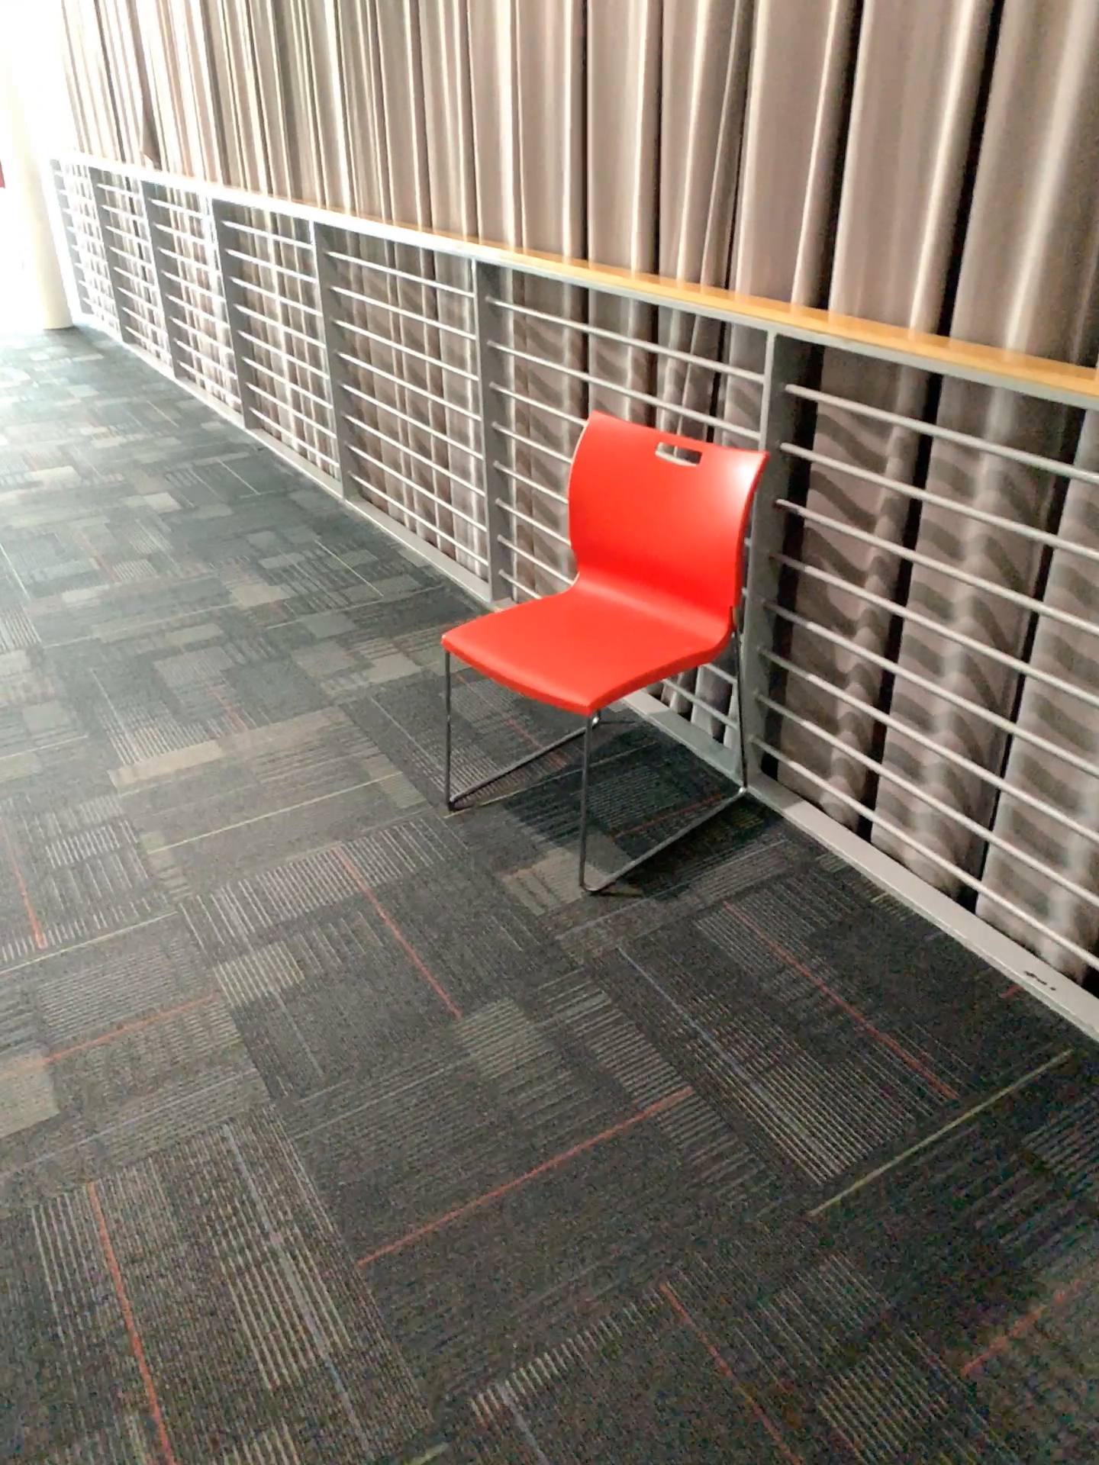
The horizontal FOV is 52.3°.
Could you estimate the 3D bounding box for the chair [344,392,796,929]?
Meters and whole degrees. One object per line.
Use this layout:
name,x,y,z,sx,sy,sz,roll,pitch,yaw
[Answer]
chair,0.060,-0.199,2.484,0.661,0.854,0.633,-28,39,-33
